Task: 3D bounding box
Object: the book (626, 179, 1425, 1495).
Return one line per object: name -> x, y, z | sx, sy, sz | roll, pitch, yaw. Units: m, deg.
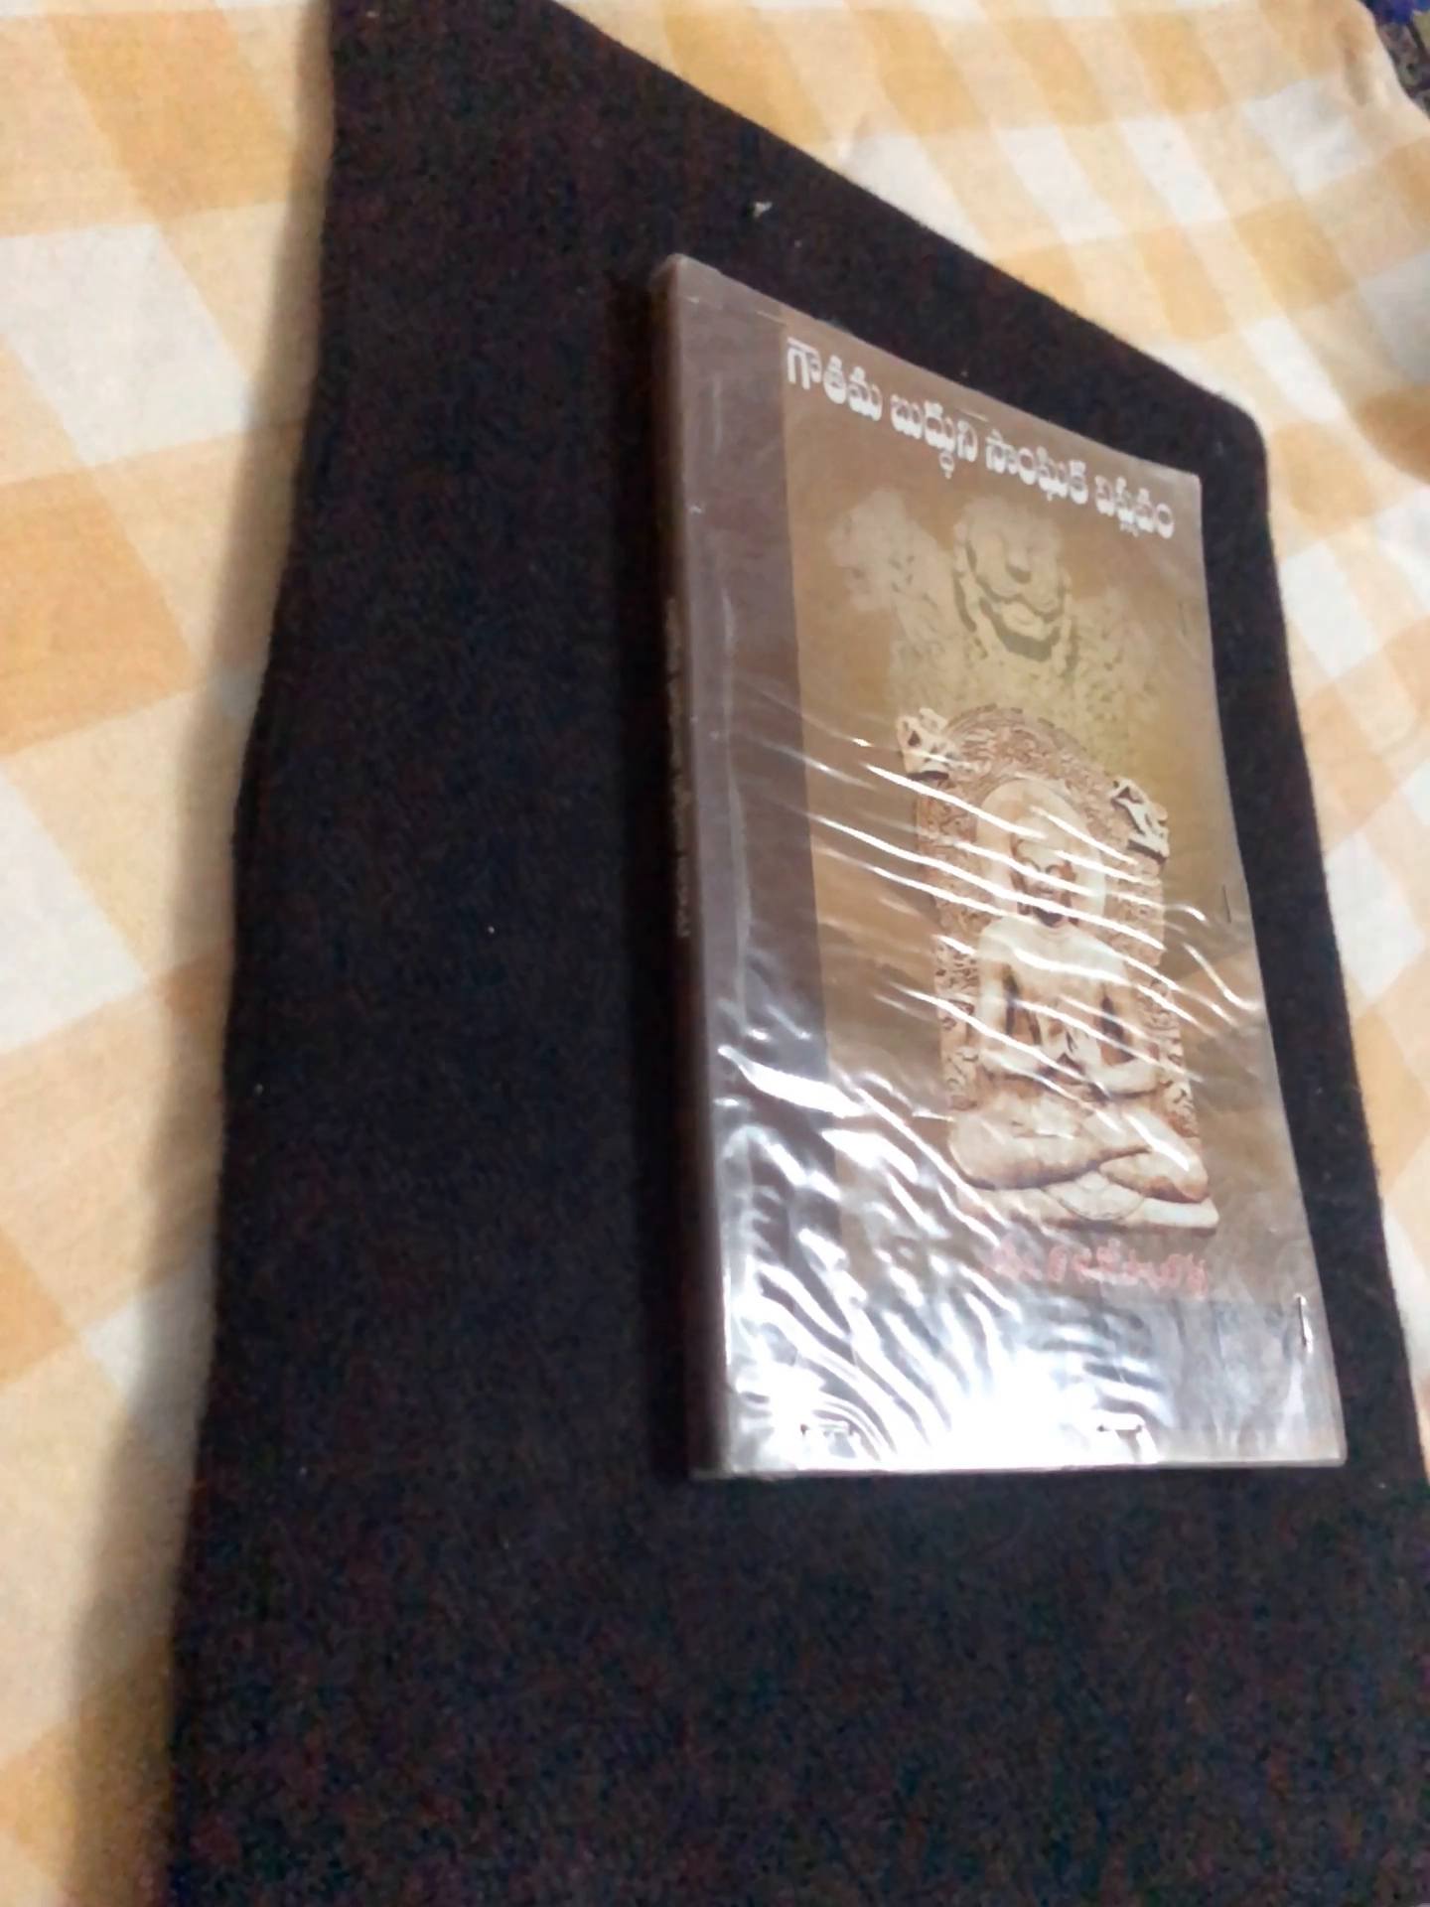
book -> 0.055, -0.020, 0.298 | 0.151, 0.020, 0.230 | 13, 62, -33
